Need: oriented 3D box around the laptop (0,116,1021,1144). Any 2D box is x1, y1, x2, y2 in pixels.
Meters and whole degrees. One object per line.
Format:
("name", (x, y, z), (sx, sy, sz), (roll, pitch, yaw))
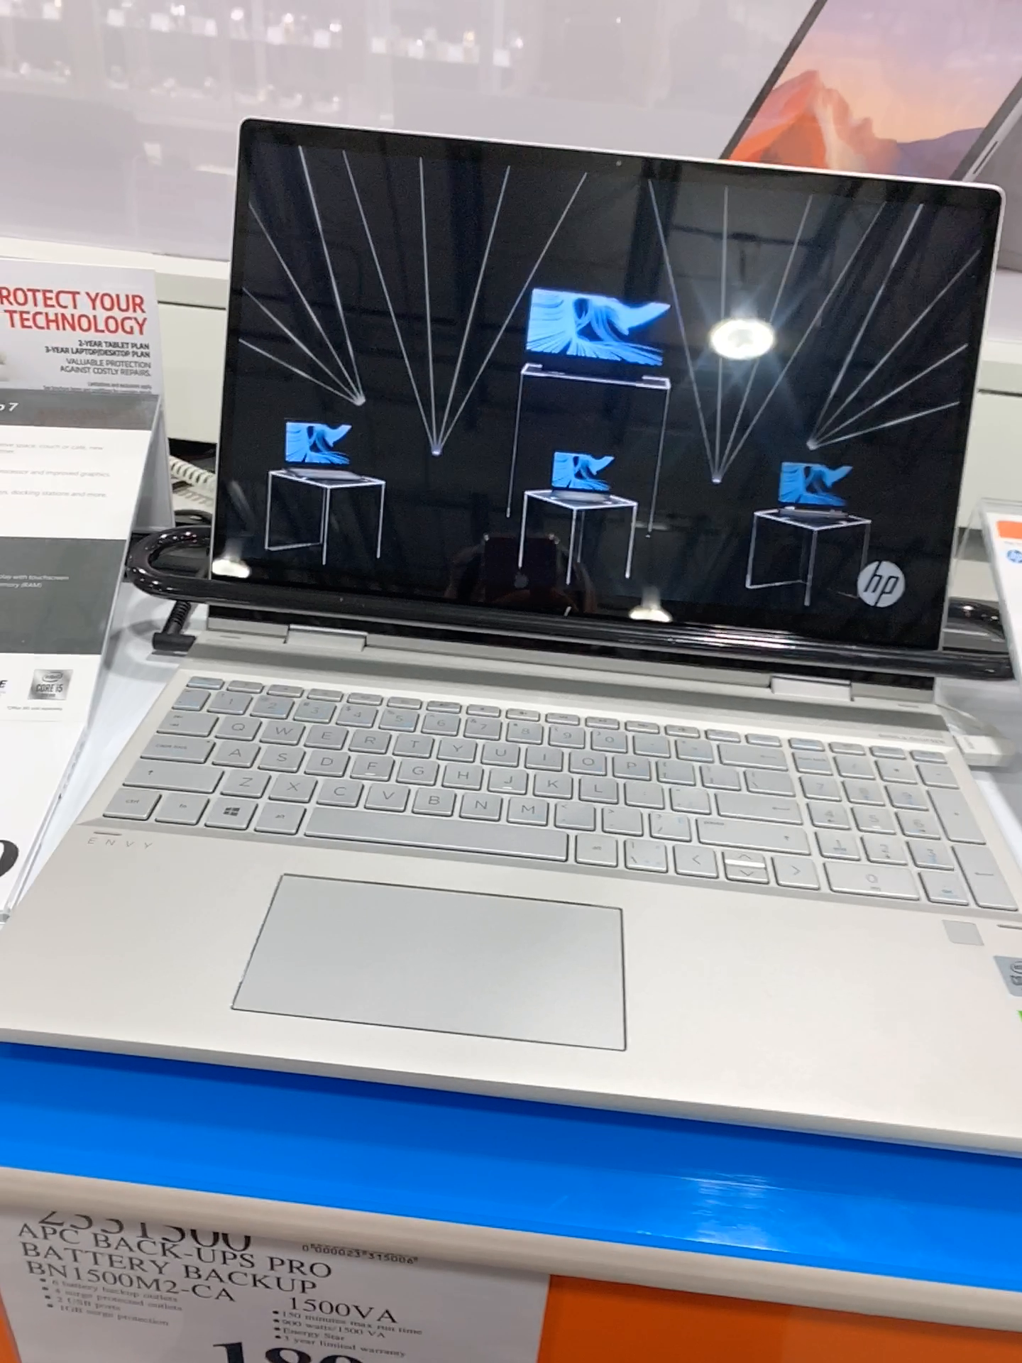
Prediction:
("laptop", (0.028, -0.064, 0.389), (0.346, 0.210, 0.341), (6, 31, 1))
